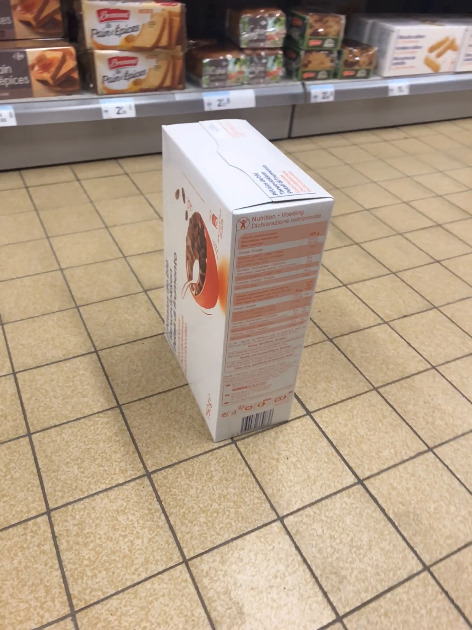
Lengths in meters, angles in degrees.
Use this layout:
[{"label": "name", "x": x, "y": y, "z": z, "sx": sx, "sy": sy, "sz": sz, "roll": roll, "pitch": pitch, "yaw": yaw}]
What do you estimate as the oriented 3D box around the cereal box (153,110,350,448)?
[{"label": "cereal box", "x": -0.007, "y": -0.039, "z": 0.561, "sx": 0.100, "sy": 0.288, "sz": 0.201, "roll": -13, "pitch": 42, "yaw": -23}]
